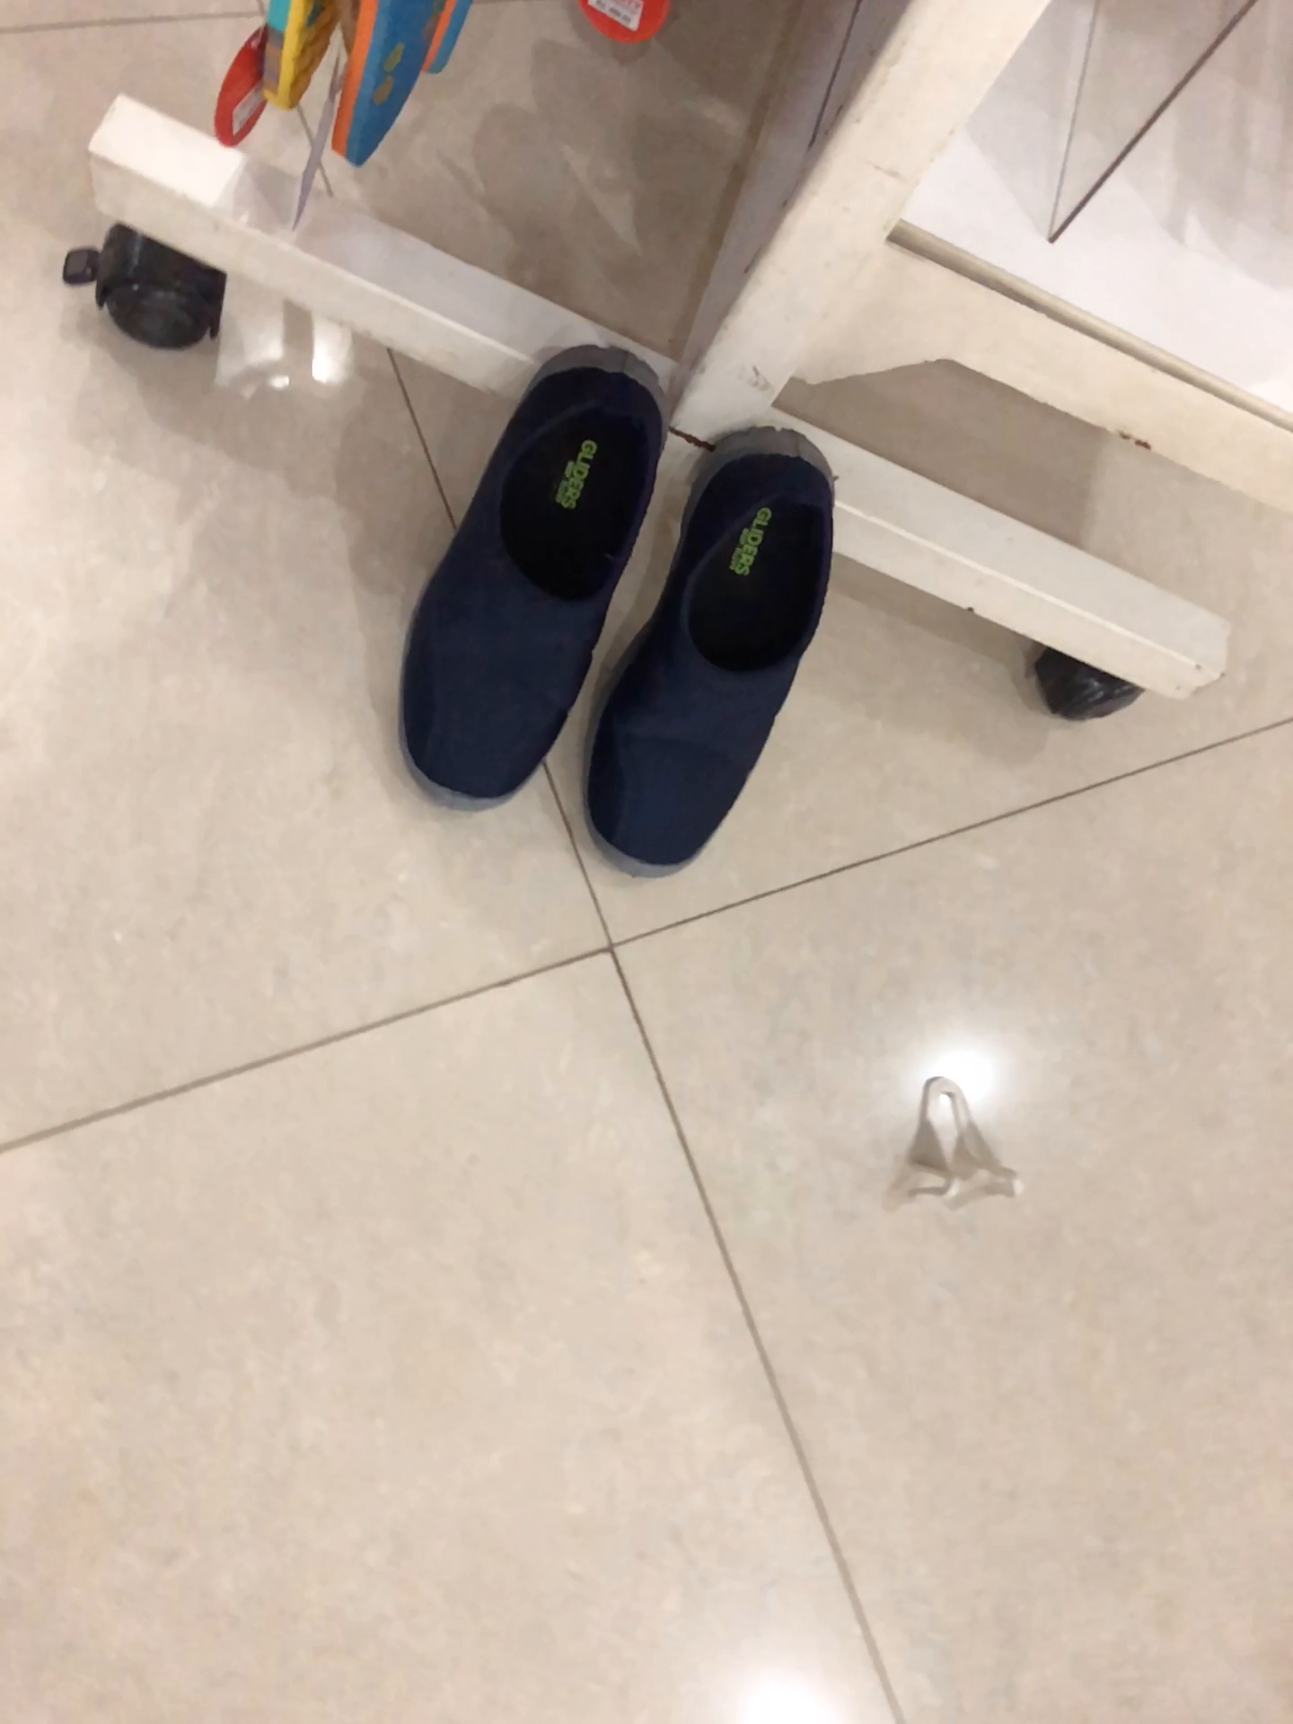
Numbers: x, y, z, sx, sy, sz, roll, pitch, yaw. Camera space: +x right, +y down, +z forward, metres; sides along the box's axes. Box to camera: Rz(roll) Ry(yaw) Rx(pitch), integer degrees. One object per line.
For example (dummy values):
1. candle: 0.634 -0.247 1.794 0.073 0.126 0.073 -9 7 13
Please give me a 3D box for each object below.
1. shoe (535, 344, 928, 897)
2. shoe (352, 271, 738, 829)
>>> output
1. shoe: 0.047 -0.134 0.833 0.110 0.084 0.288 24 83 -11
2. shoe: -0.059 -0.173 0.819 0.107 0.064 0.288 24 86 -11
